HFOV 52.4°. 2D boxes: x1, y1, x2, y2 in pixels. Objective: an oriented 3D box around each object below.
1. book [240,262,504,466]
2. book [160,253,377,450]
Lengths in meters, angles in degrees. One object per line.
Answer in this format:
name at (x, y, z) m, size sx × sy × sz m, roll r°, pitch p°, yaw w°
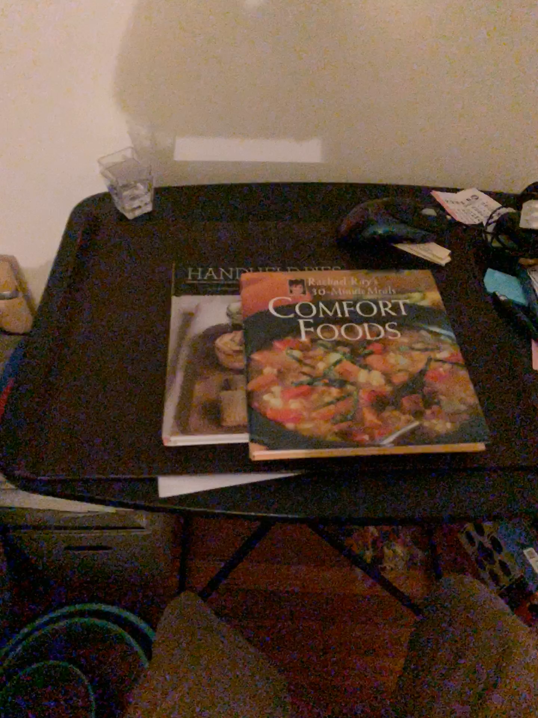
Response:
book at (0.079, -0.008, 0.503) m, size 0.200 × 0.020 × 0.211 m, roll -3°, pitch 52°, yaw -5°
book at (-0.008, -0.019, 0.528) m, size 0.180 × 0.020 × 0.221 m, roll -2°, pitch 52°, yaw -4°
